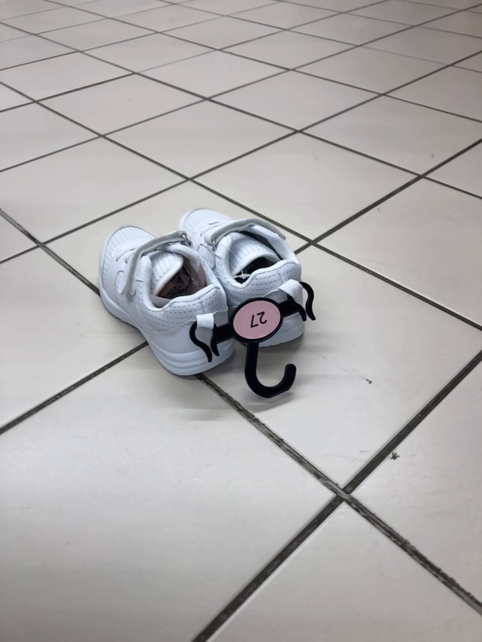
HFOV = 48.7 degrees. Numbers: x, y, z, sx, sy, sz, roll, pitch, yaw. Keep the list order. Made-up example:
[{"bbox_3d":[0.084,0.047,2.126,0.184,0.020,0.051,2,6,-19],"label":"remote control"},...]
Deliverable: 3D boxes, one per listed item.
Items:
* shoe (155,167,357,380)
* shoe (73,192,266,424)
[{"bbox_3d":[0.004,-0.054,0.477,0.080,0.080,0.201,-22,45,-21],"label":"shoe"},{"bbox_3d":[-0.066,-0.023,0.452,0.080,0.080,0.201,-22,45,-21],"label":"shoe"}]
